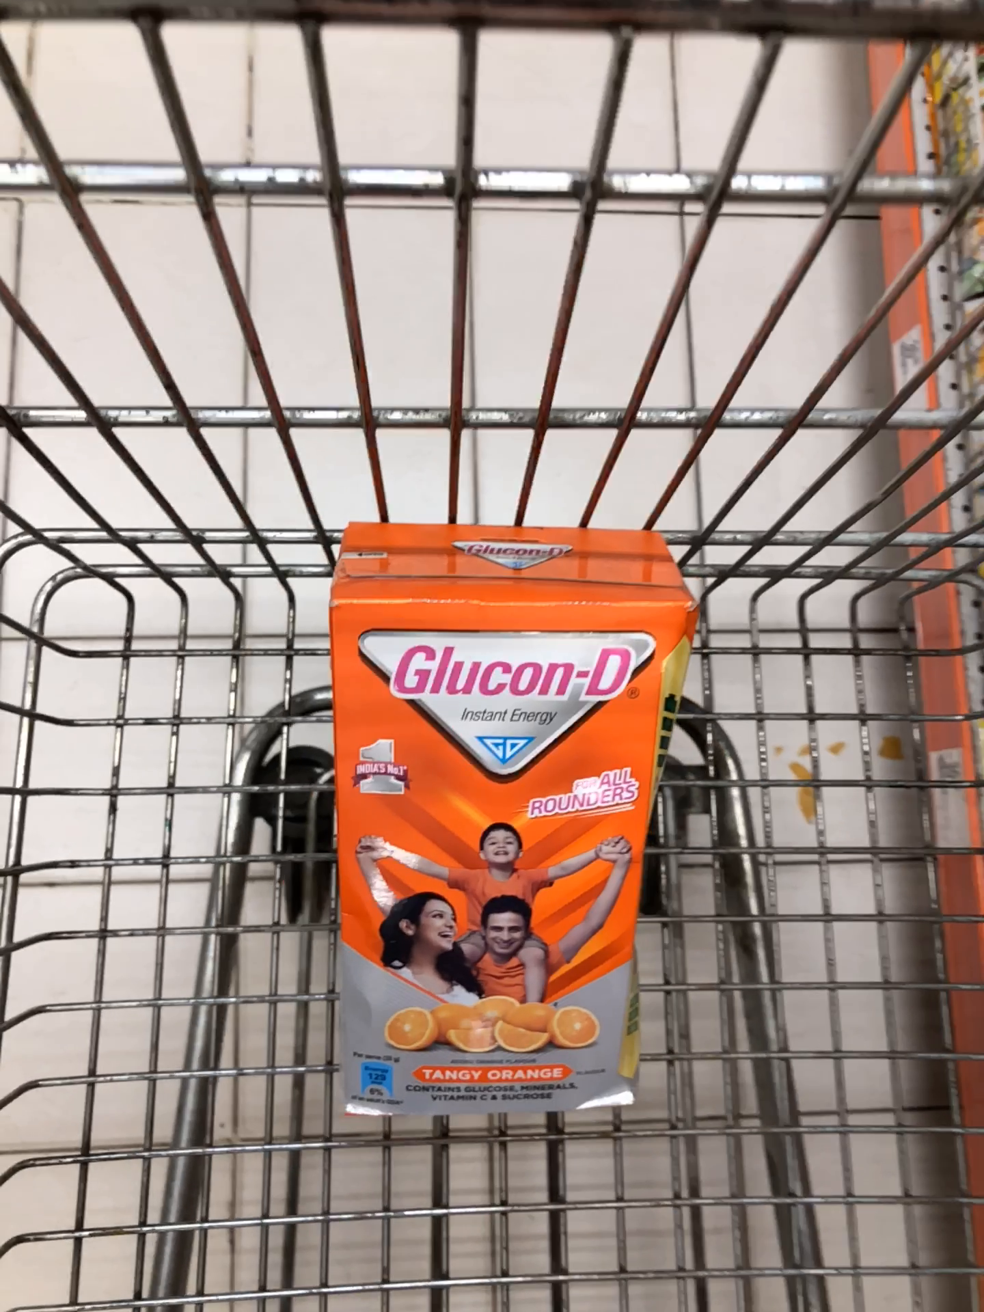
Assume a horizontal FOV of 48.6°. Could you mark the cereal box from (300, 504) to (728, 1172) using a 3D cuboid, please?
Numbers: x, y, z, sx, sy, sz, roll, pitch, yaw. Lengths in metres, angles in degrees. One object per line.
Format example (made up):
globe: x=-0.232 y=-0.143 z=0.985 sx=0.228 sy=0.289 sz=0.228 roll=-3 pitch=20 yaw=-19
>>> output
cereal box: x=0.001 y=0.062 z=0.388 sx=0.120 sy=0.100 sz=0.210 roll=1 pitch=110 yaw=-3
